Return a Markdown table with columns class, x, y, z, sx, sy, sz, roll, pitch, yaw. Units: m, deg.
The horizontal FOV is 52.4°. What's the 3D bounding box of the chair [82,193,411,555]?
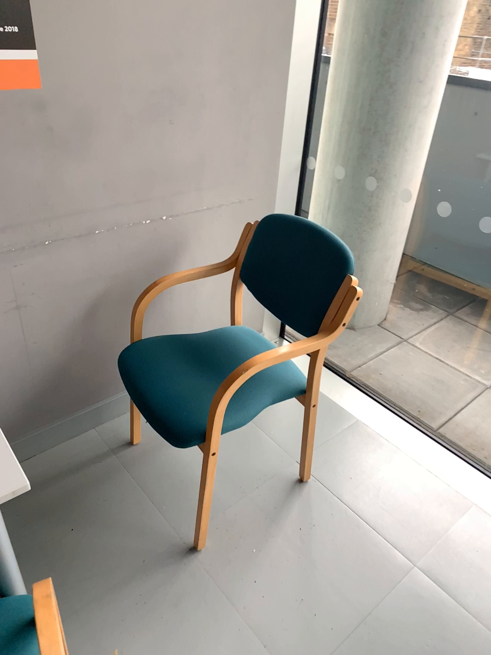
| class | x | y | z | sx | sy | sz | roll | pitch | yaw |
| --- | --- | --- | --- | --- | --- | --- | --- | --- | --- |
| chair | -0.041 | 0.072 | 1.581 | 0.642 | 0.723 | 0.684 | -19 | 40 | -33 |
